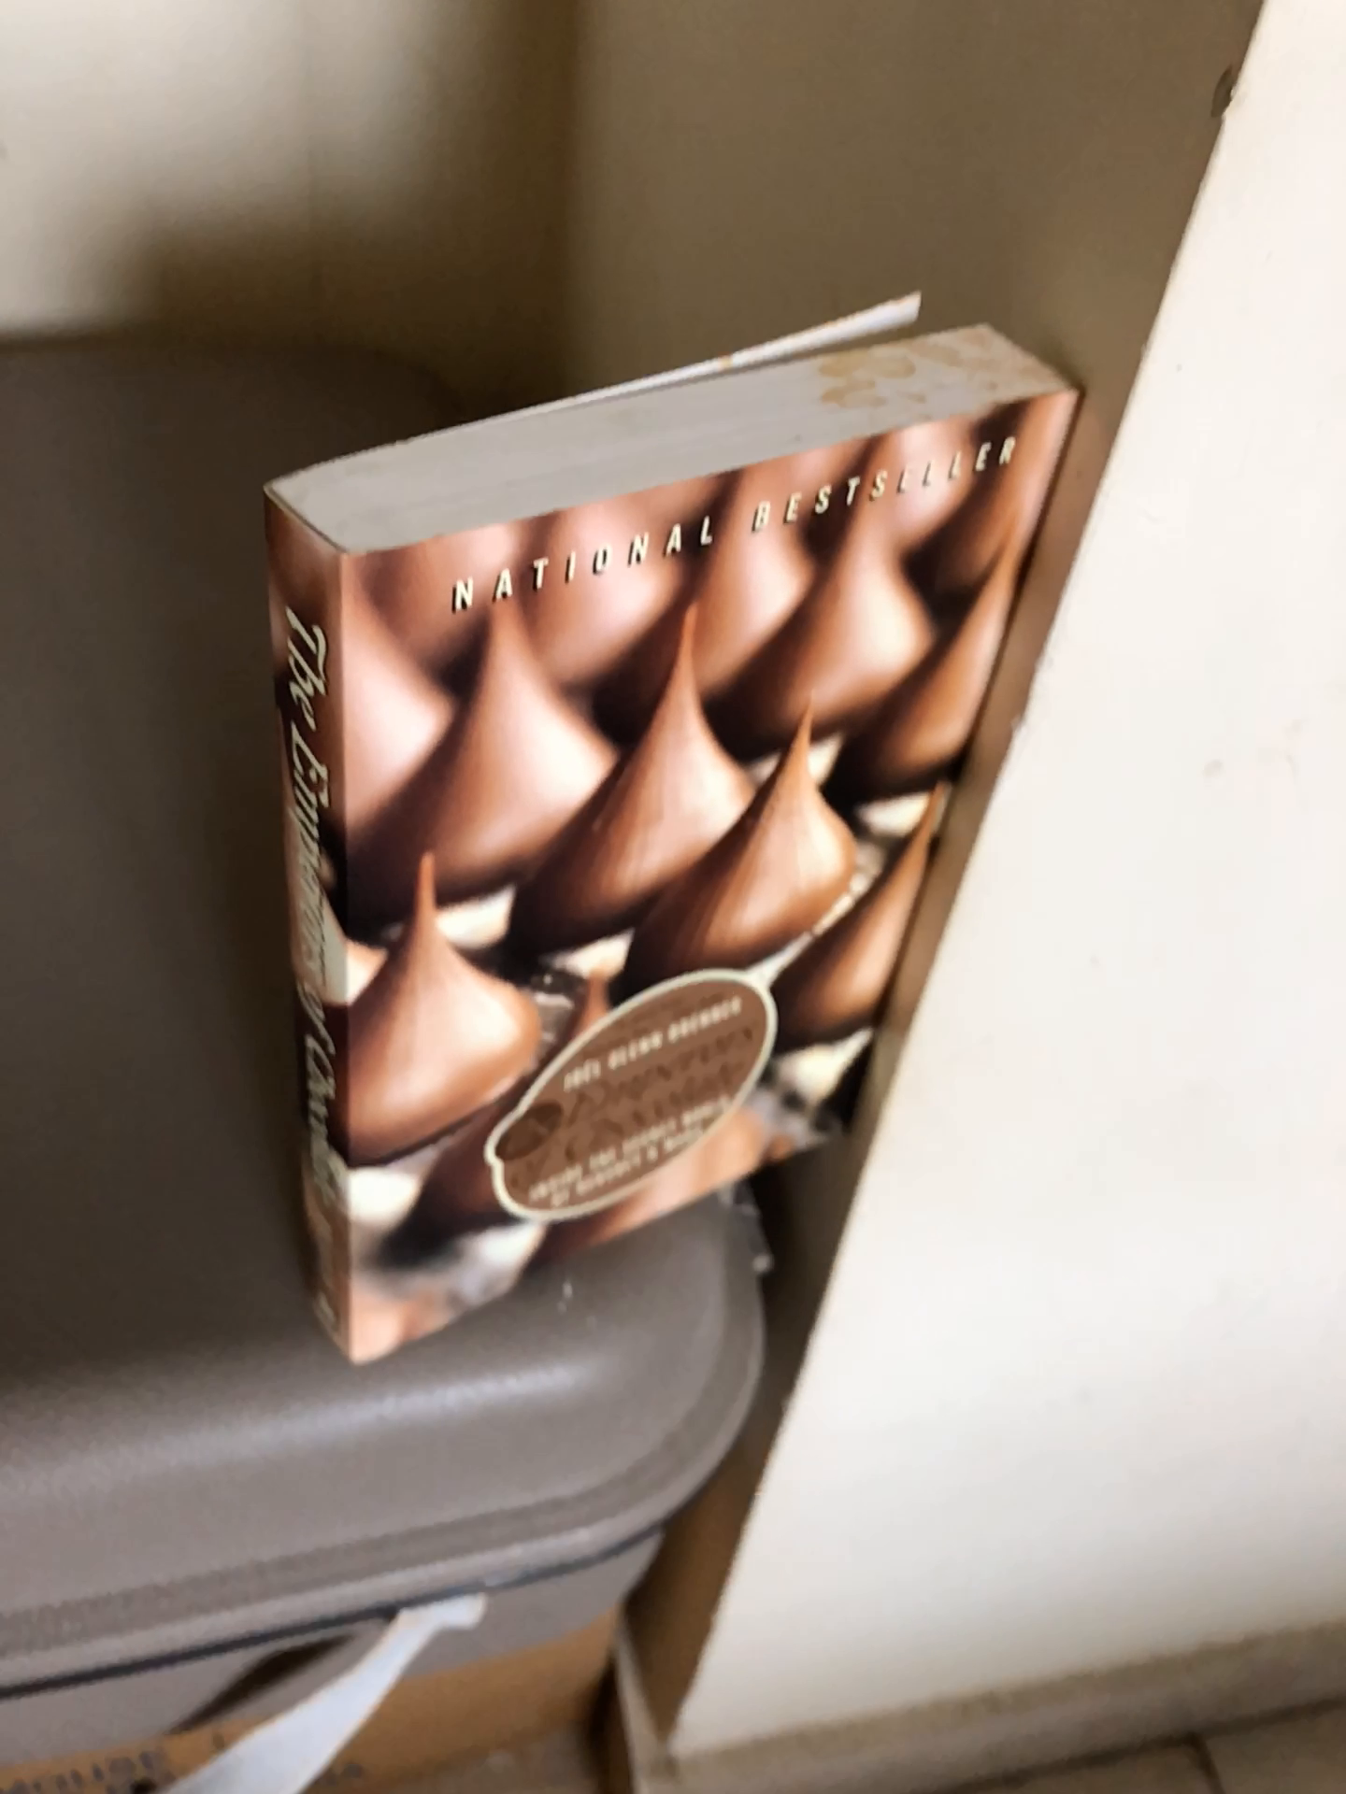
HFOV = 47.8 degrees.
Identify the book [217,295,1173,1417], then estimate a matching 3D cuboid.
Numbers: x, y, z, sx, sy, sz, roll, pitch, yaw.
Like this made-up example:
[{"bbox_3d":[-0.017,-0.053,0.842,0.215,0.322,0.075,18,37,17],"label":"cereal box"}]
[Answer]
[{"bbox_3d":[0.001,-0.003,0.305,0.160,0.199,0.040,-23,51,-31],"label":"book"}]
